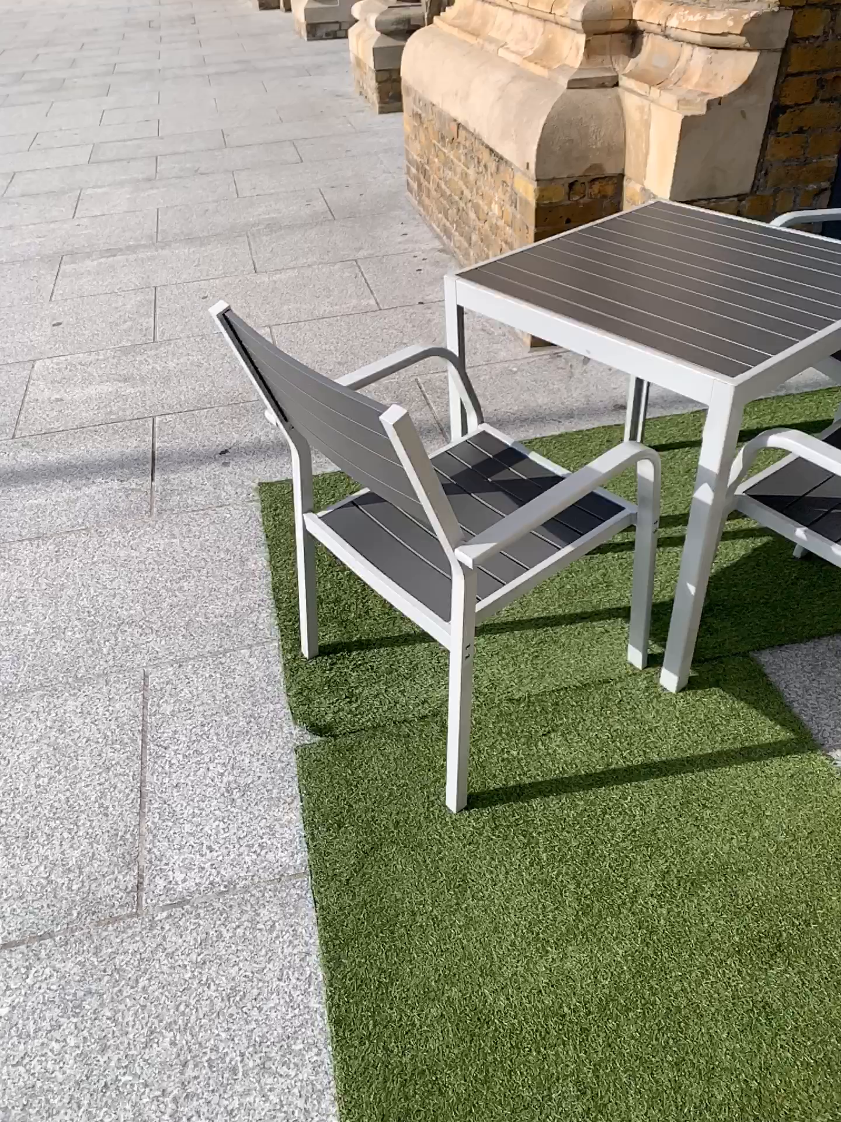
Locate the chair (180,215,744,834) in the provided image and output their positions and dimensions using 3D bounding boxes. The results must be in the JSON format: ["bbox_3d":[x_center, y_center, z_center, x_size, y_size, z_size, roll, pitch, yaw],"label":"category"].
[{"bbox_3d":[0.072,-0.117,1.668,0.648,0.801,0.685,-30,45,-30],"label":"chair"}]
